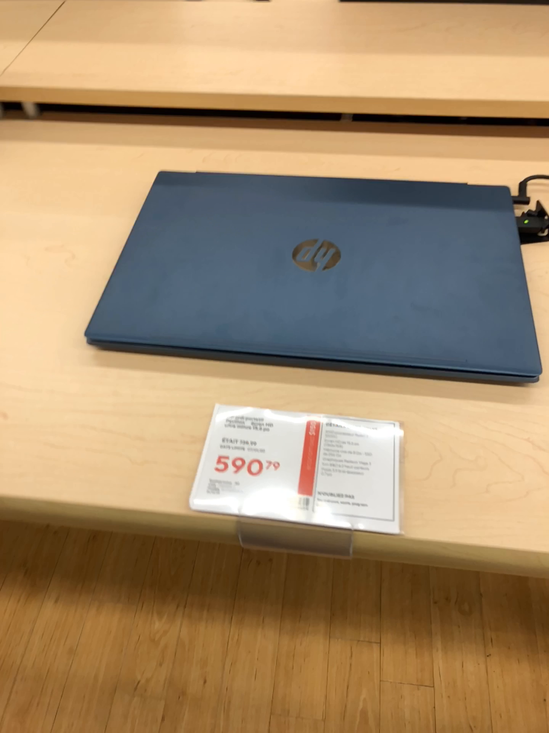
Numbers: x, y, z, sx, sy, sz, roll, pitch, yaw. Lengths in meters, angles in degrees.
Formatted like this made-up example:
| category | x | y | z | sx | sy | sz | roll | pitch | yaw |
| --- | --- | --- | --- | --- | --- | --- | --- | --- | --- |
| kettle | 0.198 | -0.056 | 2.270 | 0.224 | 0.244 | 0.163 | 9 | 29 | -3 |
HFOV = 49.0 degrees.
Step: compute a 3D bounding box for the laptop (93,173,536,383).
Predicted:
| category | x | y | z | sx | sy | sz | roll | pitch | yaw |
| --- | --- | --- | --- | --- | --- | --- | --- | --- | --- |
| laptop | 0.035 | -0.095 | 0.545 | 0.352 | 0.012 | 0.220 | 5 | 54 | 9 |
